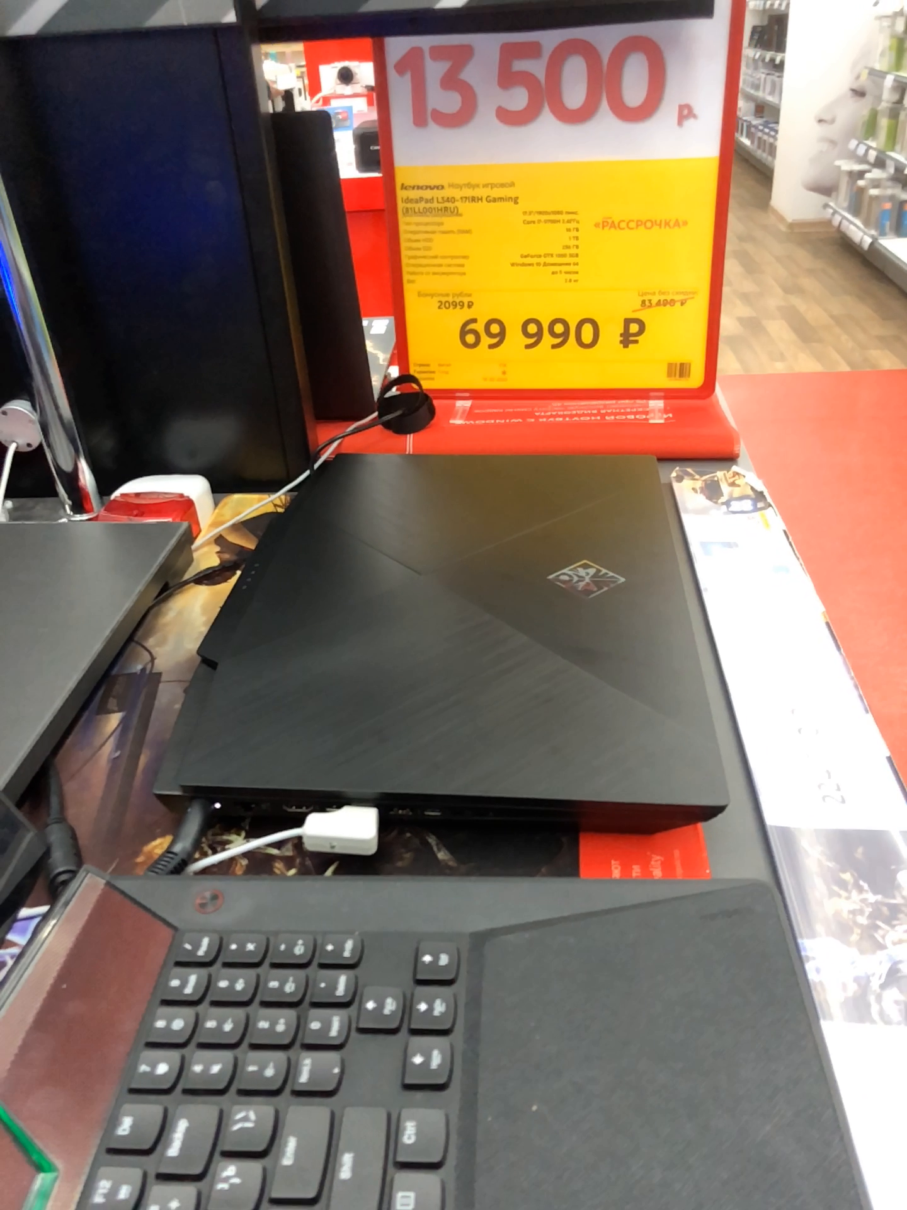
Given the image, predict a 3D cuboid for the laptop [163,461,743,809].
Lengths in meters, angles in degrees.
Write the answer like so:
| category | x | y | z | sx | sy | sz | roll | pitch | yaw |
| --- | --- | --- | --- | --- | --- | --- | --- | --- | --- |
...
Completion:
| category | x | y | z | sx | sy | sz | roll | pitch | yaw |
| --- | --- | --- | --- | --- | --- | --- | --- | --- | --- |
| laptop | 0.012 | -0.010 | 0.617 | 0.261 | 0.002 | 0.400 | 0 | 30 | 5 |
